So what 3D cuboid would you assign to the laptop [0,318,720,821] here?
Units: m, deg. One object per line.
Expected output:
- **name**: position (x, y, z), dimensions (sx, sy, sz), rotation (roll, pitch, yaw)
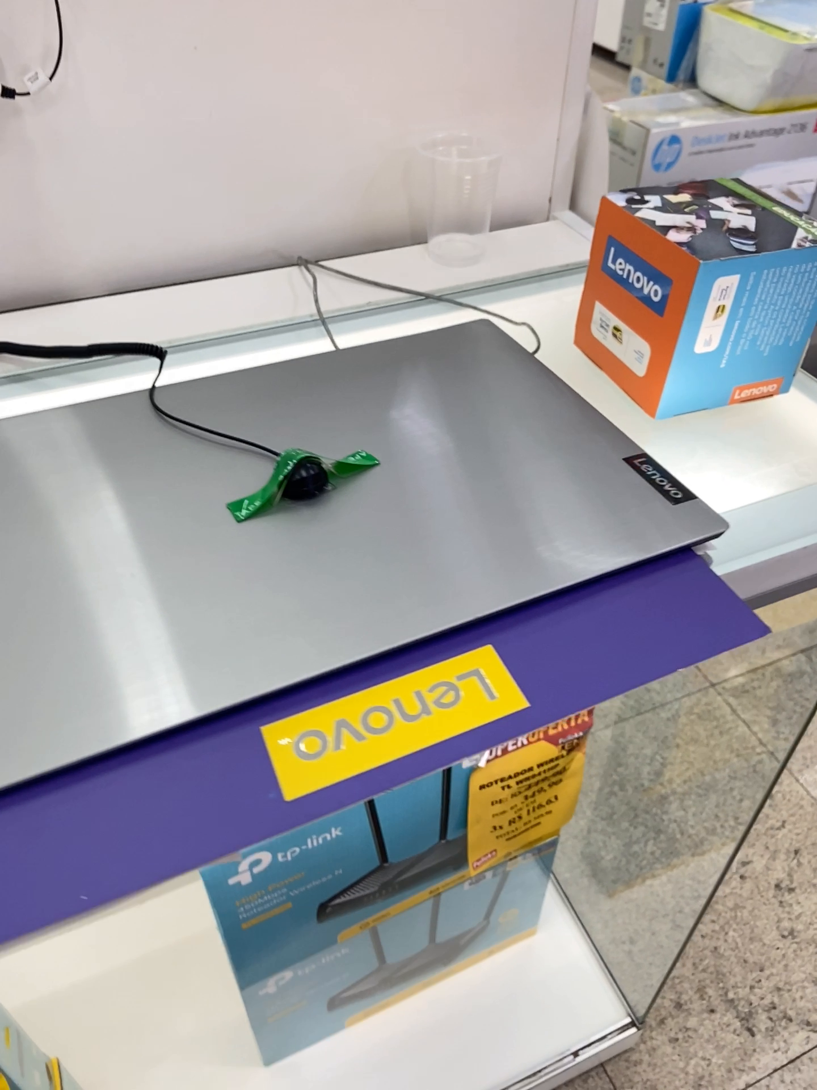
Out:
- **laptop**: position (-0.065, -0.028, 0.430), dimensions (0.362, 0.001, 0.241), rotation (-17, 45, -18)
